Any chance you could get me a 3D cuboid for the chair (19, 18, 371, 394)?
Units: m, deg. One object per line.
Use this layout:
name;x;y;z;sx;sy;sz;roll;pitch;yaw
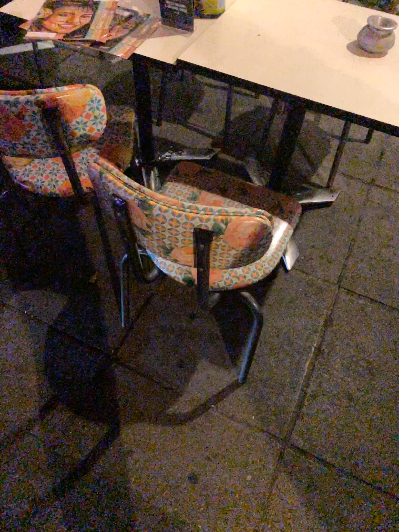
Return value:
chair;0.023;-0.125;1.103;0.521;0.694;0.574;21;58;12
